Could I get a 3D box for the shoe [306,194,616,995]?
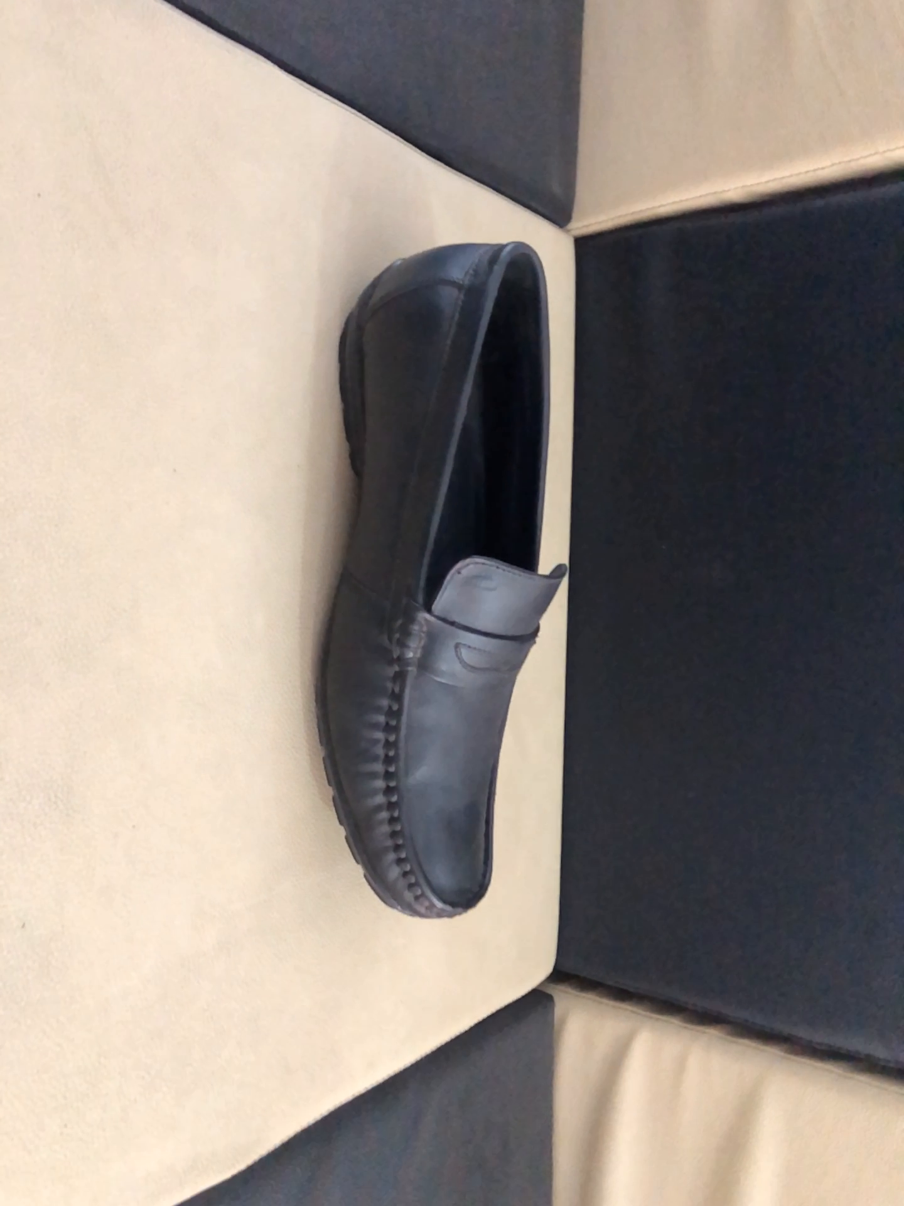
[{"bbox_3d":[0.007,-0.003,0.426,0.101,0.079,0.290,2,89,-53],"label":"shoe"}]
